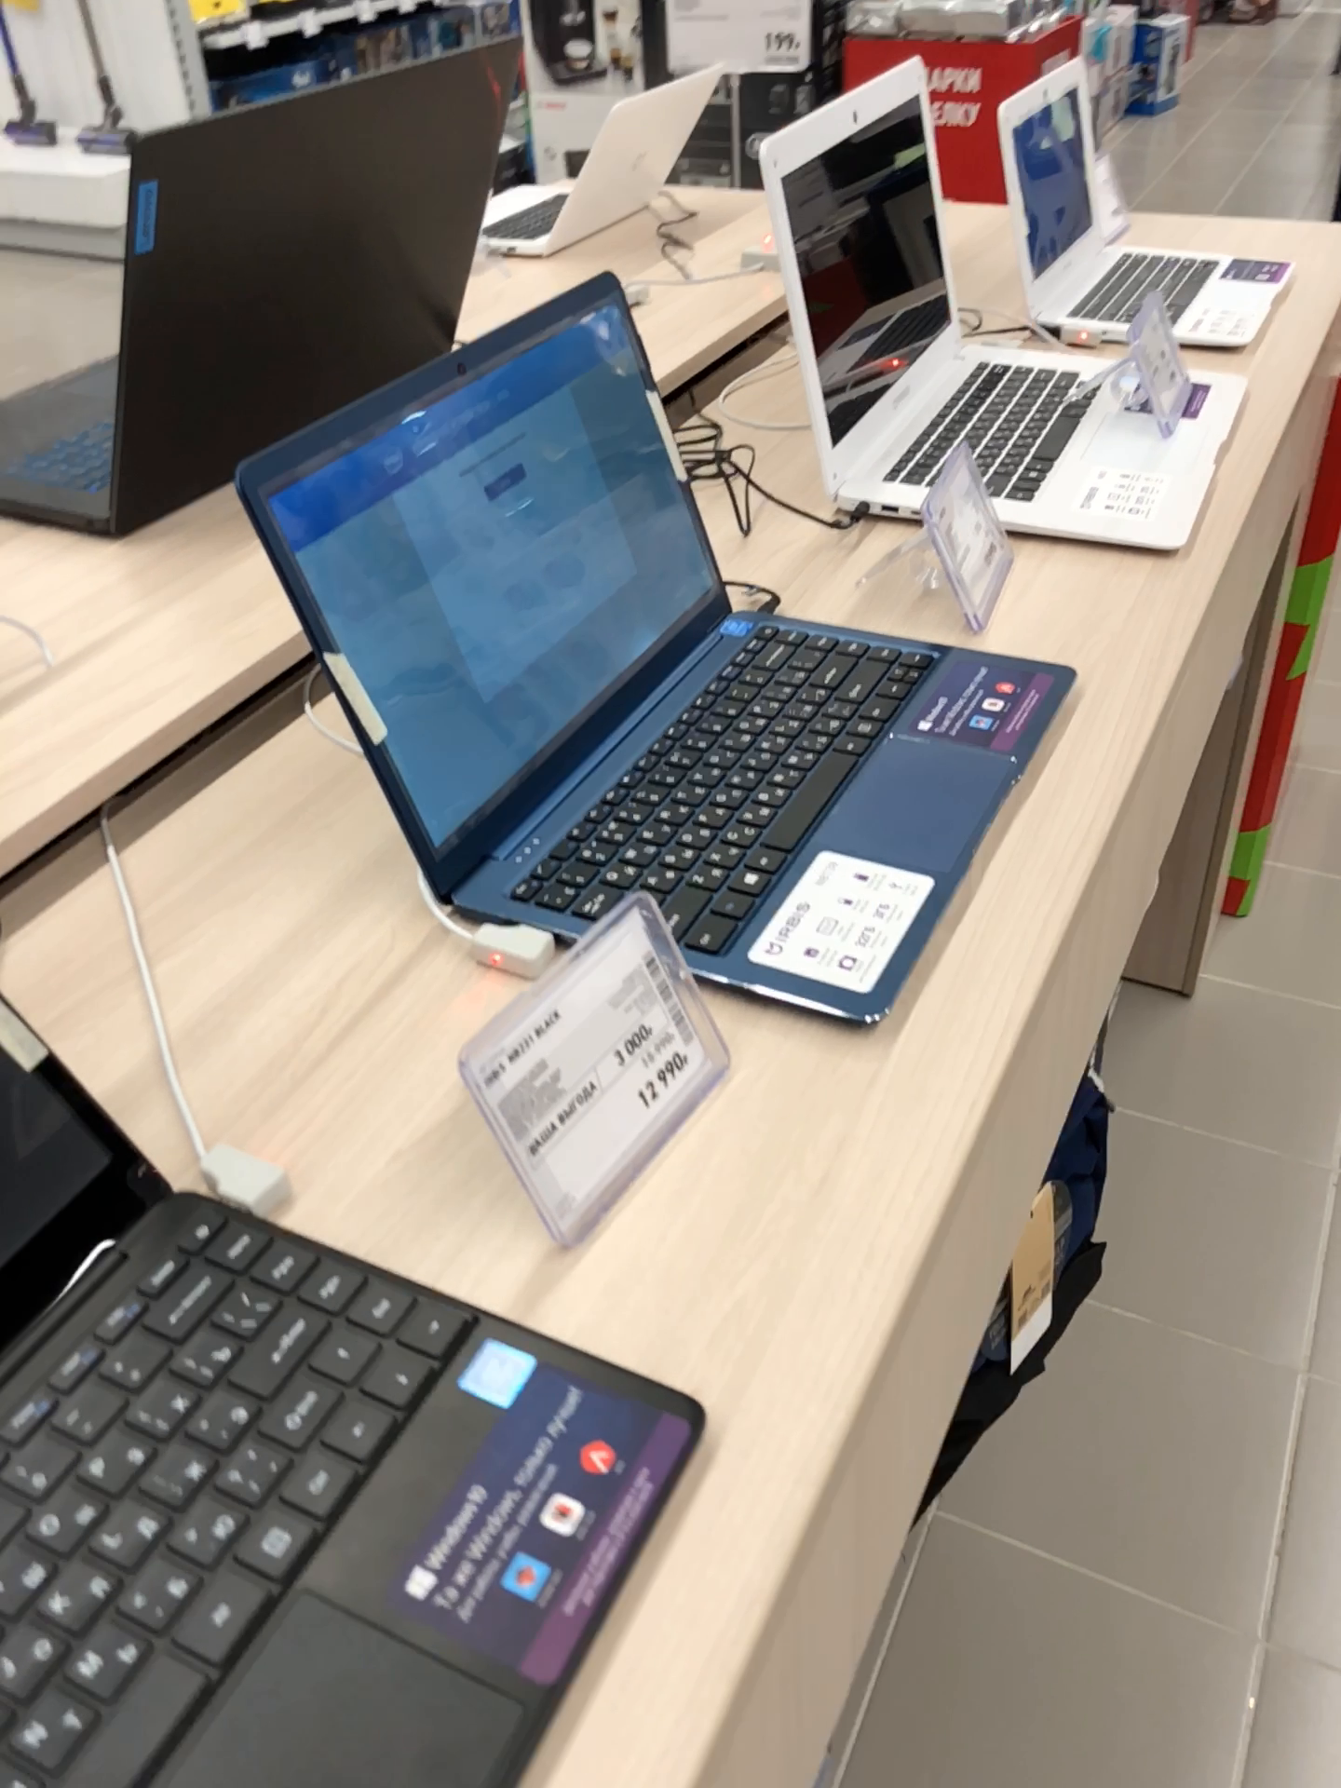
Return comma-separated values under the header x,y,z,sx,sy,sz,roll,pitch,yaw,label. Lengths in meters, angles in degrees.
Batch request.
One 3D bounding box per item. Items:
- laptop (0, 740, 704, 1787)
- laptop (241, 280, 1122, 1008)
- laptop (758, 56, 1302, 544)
x,y,z,sx,sy,sz,roll,pitch,yaw,label
-0.206,0.128,0.338,0.327,0.155,0.302,14,38,21,laptop
0.027,-0.144,0.689,0.270,0.185,0.310,15,39,22,laptop
0.251,-0.430,1.023,0.288,0.217,0.312,14,40,20,laptop
